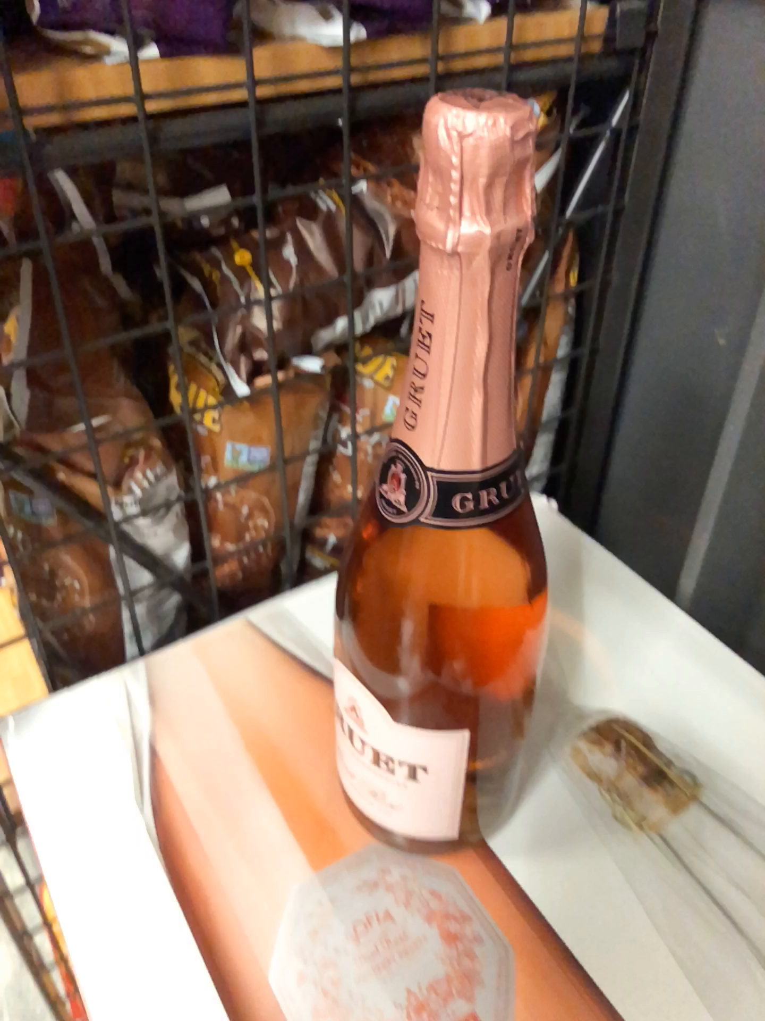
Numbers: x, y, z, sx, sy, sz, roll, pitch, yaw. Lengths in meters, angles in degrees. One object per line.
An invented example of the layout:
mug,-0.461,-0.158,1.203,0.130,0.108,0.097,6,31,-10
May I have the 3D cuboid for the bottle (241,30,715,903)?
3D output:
bottle,0.023,0.005,0.322,0.090,0.311,0.090,0,37,0
